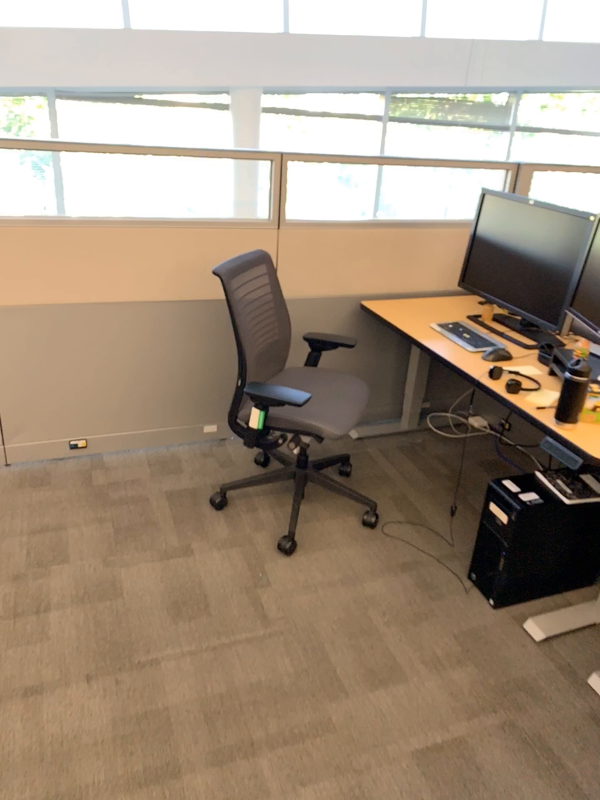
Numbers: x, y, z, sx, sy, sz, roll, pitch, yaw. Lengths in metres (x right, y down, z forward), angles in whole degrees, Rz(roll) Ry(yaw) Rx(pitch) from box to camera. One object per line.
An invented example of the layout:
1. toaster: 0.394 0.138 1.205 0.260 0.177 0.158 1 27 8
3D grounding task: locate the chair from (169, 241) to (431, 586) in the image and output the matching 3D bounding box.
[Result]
1. chair: 0.015 -0.004 2.584 0.801 1.084 0.773 11 26 15

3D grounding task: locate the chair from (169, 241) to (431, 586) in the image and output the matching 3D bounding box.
1. chair: 0.015 -0.004 2.584 0.801 1.084 0.773 11 26 15
